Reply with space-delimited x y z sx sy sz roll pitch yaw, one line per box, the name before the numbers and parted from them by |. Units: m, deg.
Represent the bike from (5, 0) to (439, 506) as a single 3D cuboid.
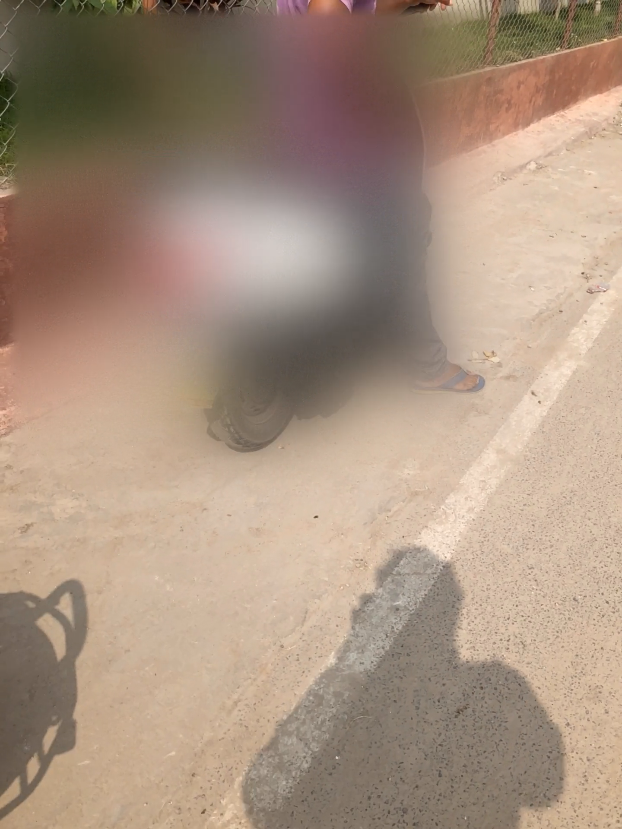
bike | -0.105 -0.698 2.264 0.617 1.112 1.562 13 37 17
